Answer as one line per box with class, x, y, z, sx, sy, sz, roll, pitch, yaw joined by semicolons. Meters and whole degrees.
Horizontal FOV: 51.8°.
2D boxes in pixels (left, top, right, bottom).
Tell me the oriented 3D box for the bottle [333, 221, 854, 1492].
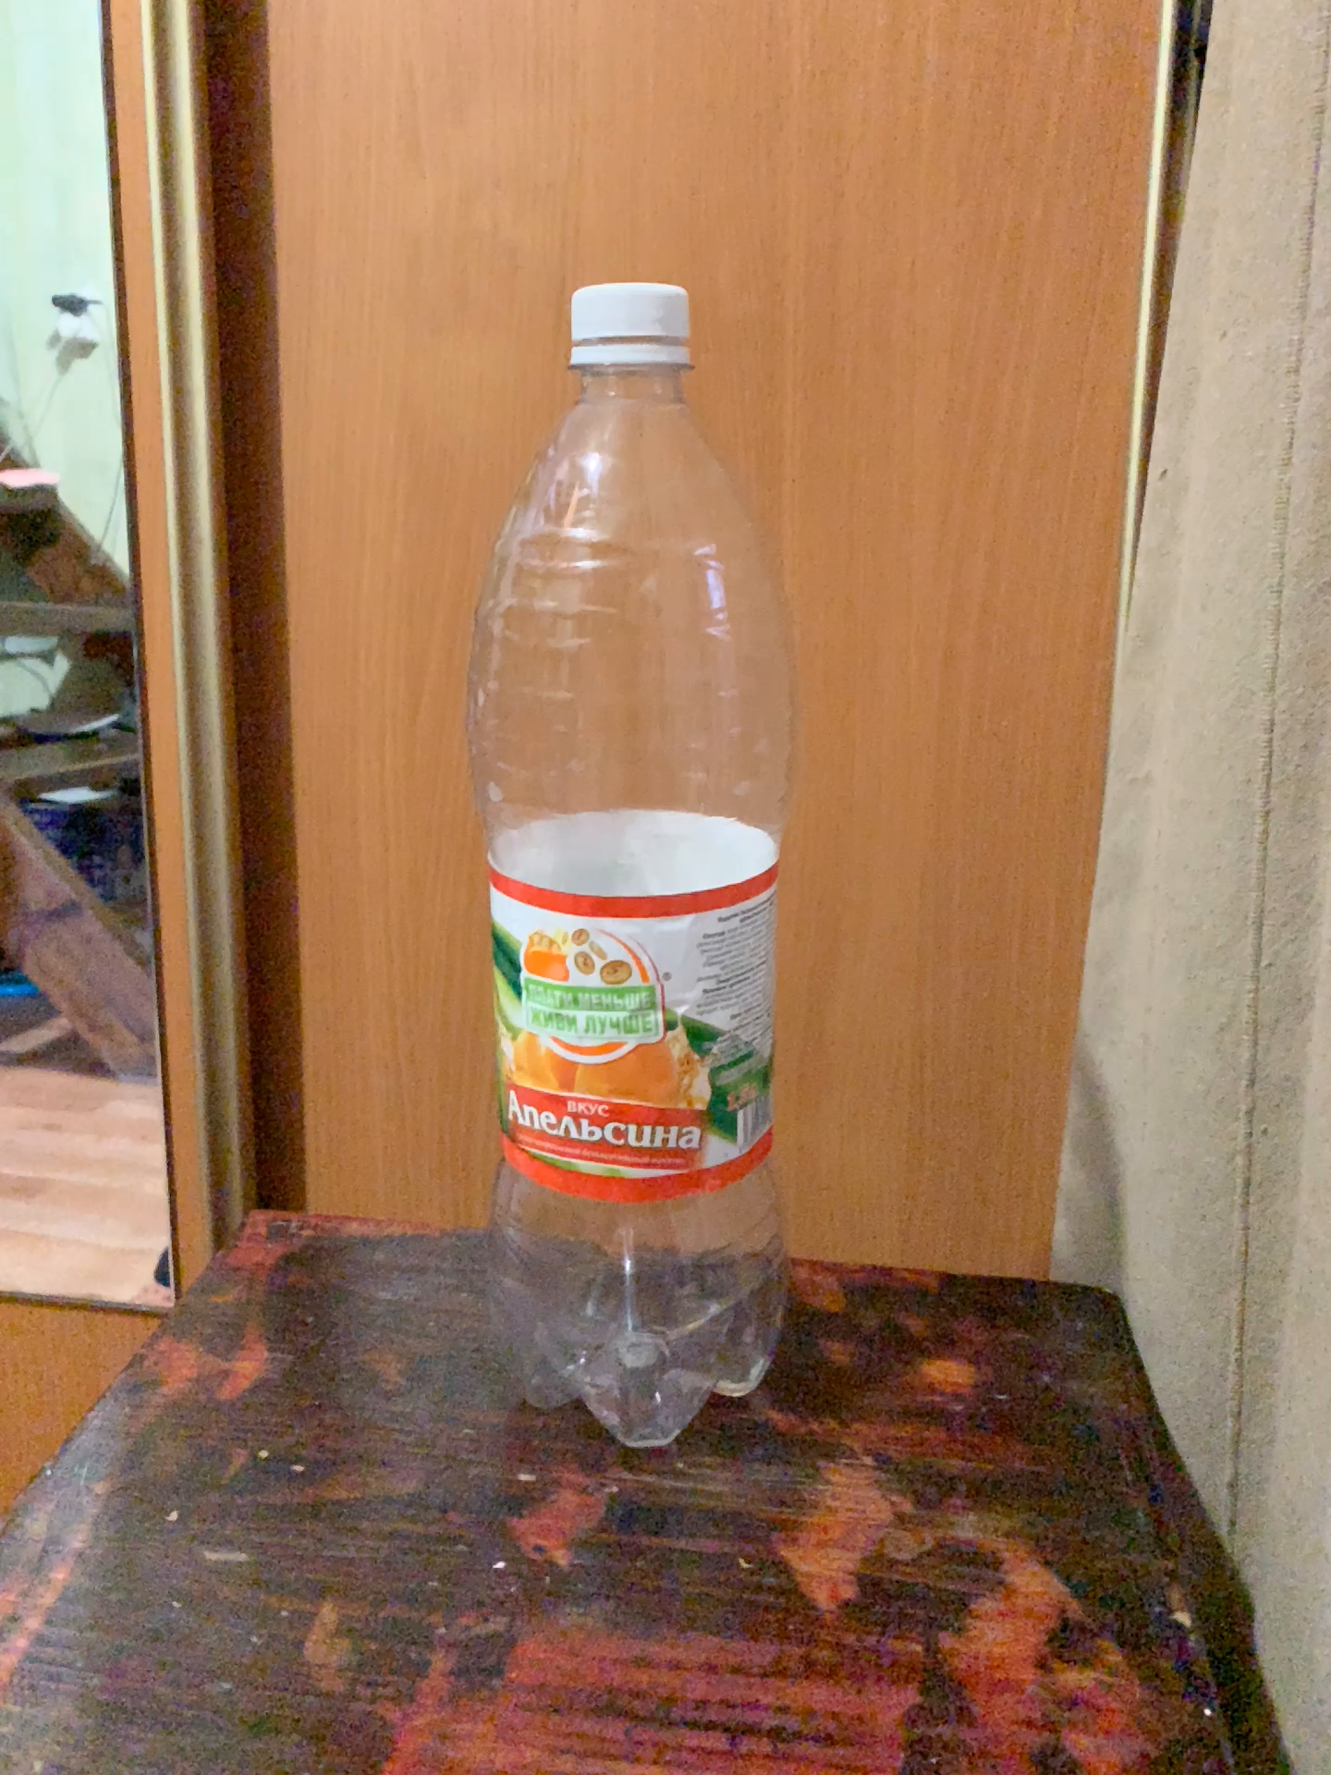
bottle;-0.010;-0.007;0.399;0.100;0.318;0.101;-2;15;0
